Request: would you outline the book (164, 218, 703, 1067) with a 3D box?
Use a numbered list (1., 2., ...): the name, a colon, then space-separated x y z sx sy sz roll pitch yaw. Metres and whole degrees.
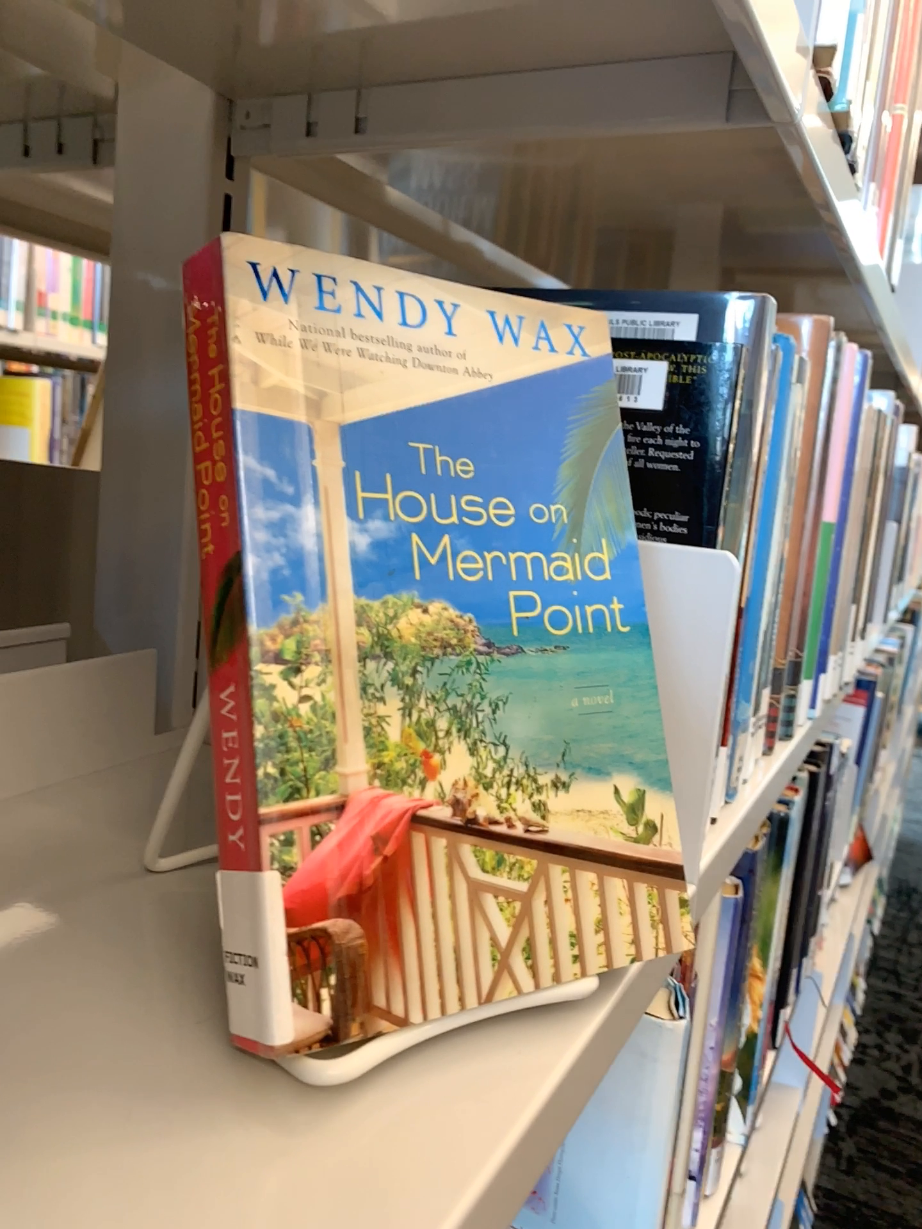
1. book: -0.006 0.003 0.268 0.131 0.193 0.043 -1 -9 -32
